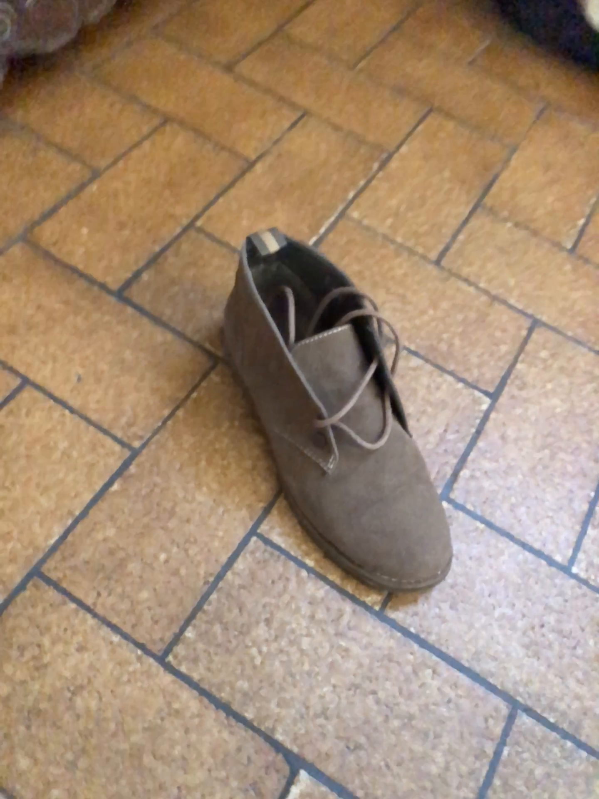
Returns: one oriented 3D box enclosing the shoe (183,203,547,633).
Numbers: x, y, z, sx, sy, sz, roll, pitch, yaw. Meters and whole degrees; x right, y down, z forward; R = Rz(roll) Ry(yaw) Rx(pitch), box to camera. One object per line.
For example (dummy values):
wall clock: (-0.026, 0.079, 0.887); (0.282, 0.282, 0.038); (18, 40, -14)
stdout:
shoe: (0.025, 0.005, 0.439); (0.100, 0.099, 0.250); (-24, 66, -21)
